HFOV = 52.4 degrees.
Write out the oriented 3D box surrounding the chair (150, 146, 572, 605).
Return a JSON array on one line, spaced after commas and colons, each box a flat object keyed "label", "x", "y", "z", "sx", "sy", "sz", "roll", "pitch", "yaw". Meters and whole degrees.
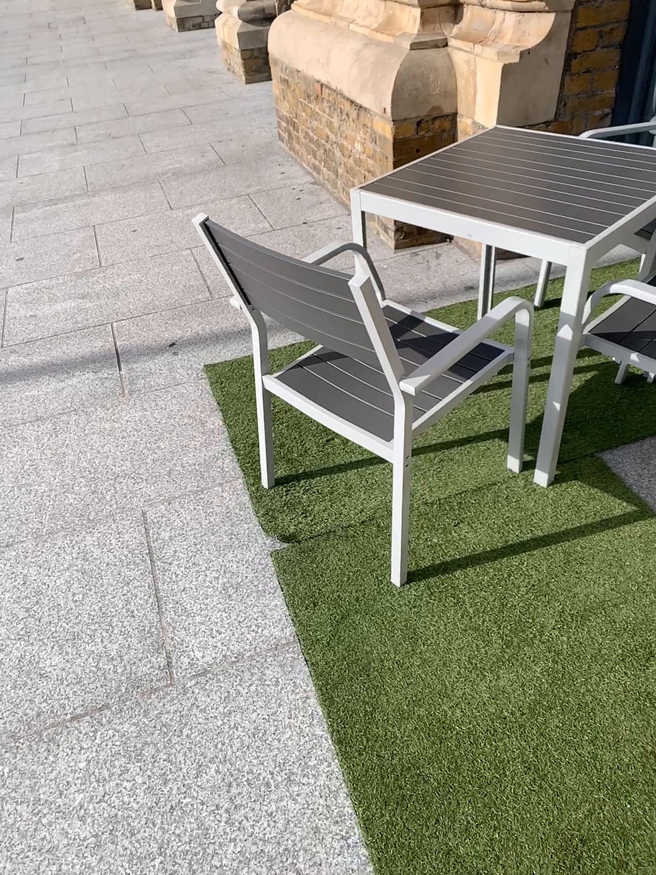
[{"label": "chair", "x": 0.098, "y": -0.203, "z": 1.728, "sx": 0.684, "sy": 0.801, "sz": 0.649, "roll": 27, "pitch": 49, "yaw": 35}]
